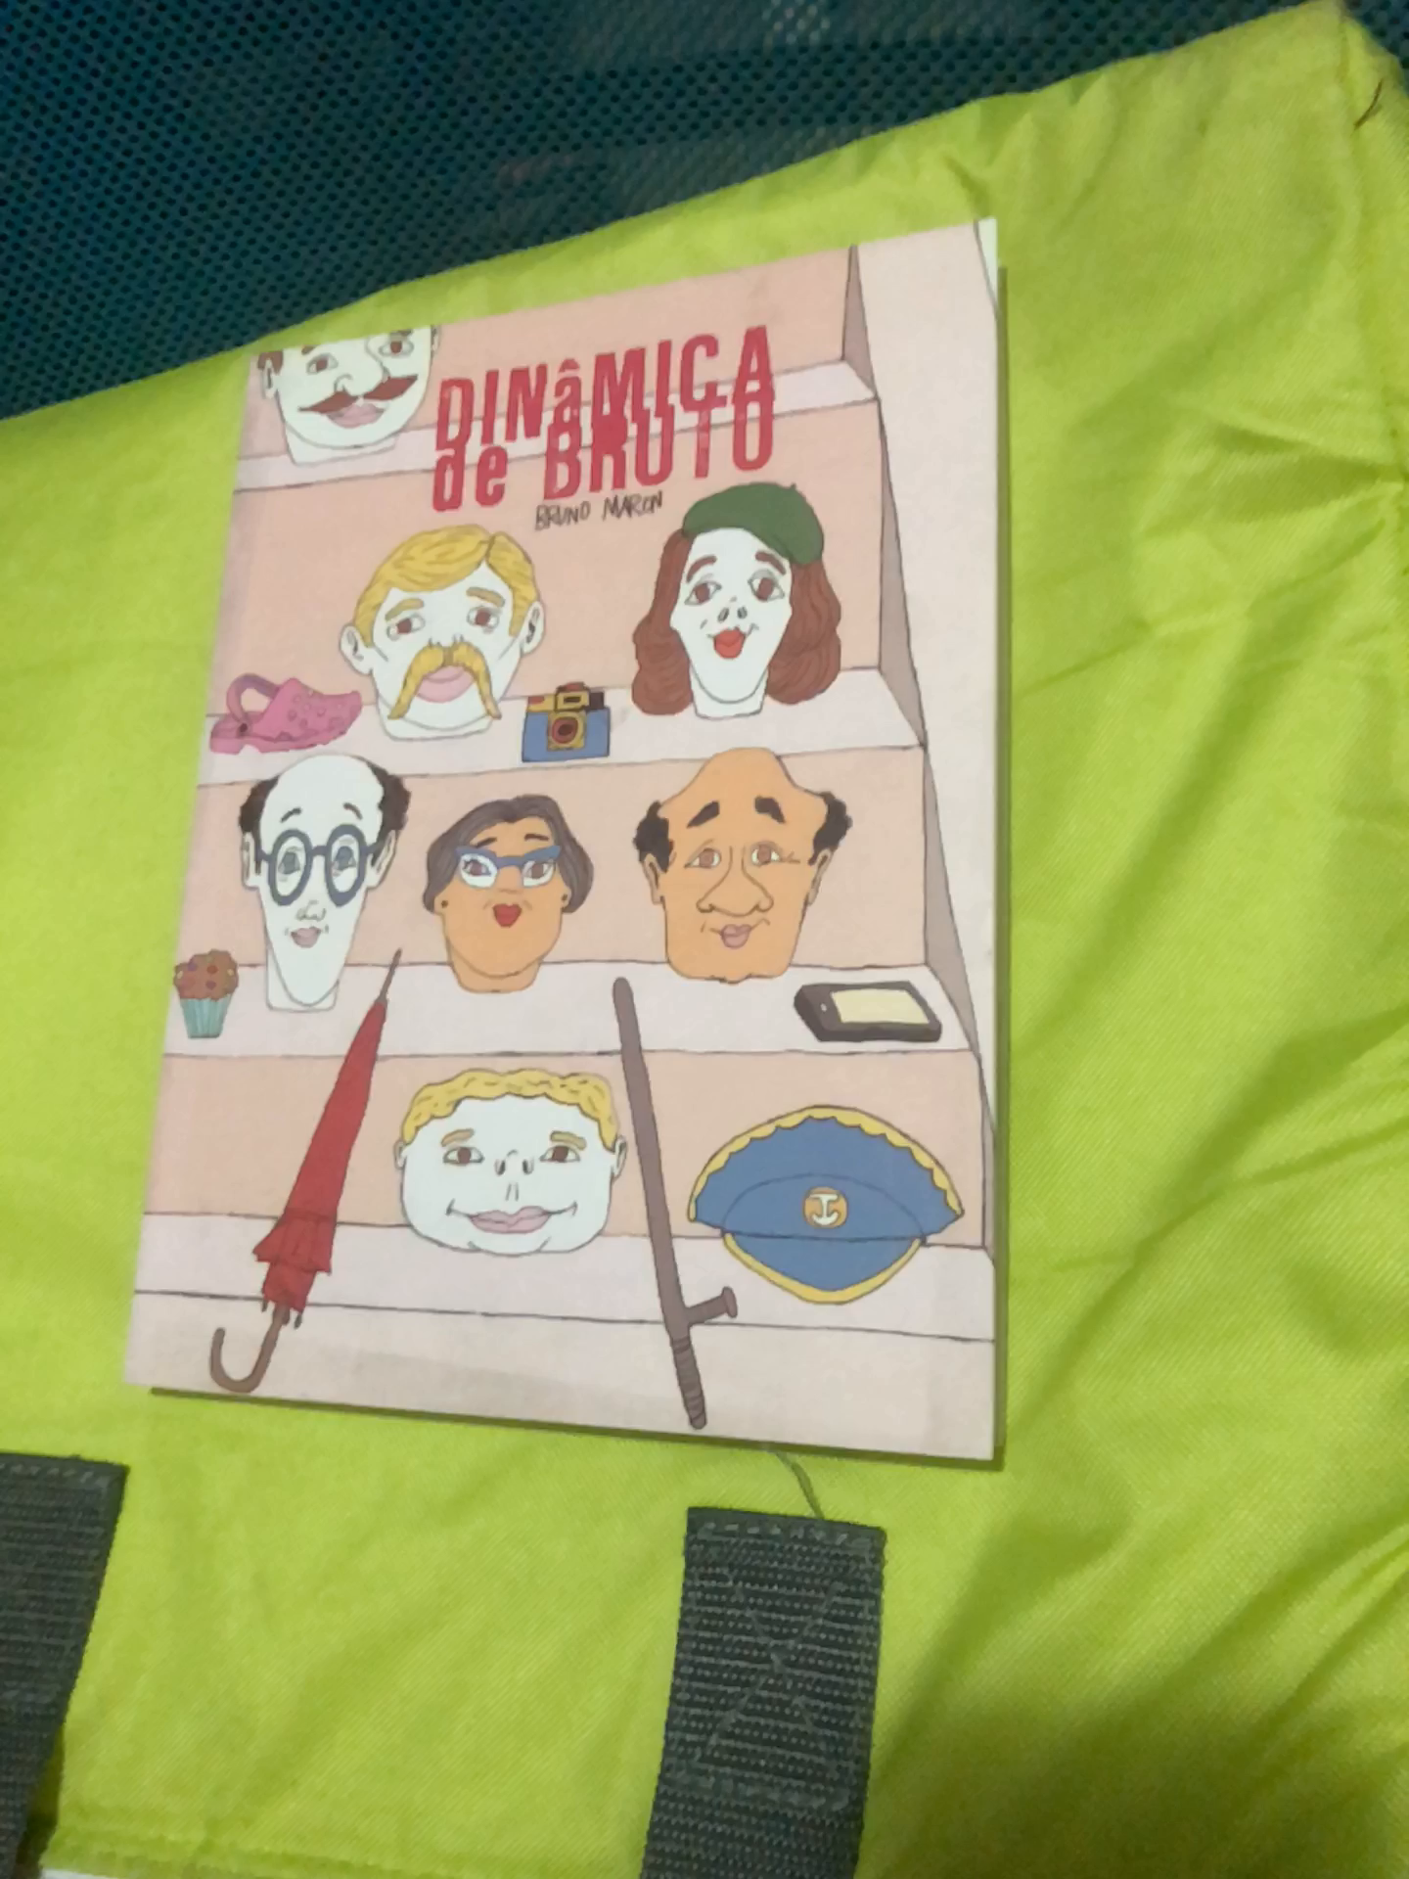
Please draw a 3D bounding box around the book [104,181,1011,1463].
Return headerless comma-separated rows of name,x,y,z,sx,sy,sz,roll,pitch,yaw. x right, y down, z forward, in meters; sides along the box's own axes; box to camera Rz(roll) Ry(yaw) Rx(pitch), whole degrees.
book,-0.029,-0.027,0.320,0.179,0.020,0.240,-2,76,21
